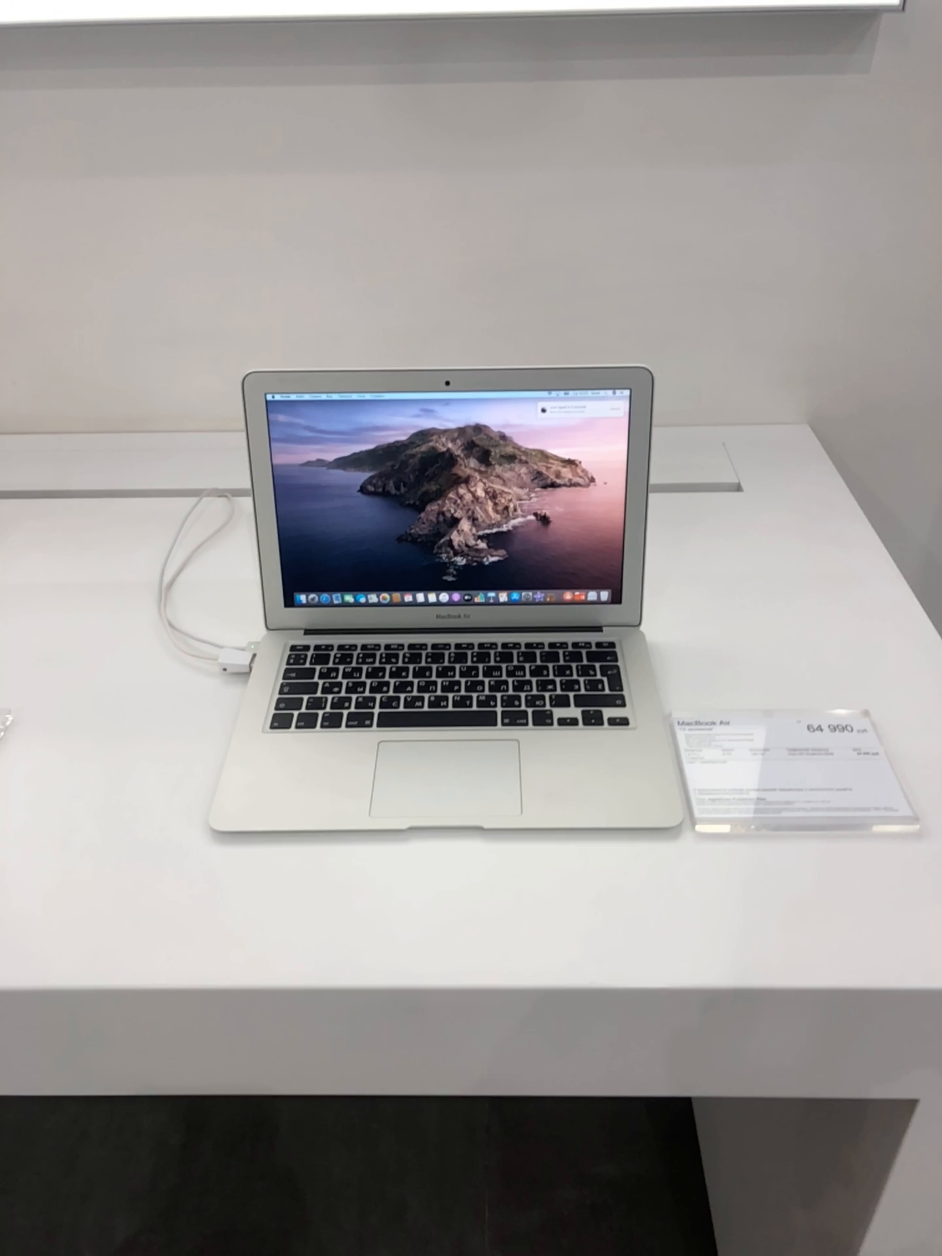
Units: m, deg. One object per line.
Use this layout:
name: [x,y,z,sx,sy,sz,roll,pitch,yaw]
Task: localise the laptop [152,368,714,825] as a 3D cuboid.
laptop: [-0.018,-0.034,0.743,0.315,0.207,0.271,-1,34,1]
